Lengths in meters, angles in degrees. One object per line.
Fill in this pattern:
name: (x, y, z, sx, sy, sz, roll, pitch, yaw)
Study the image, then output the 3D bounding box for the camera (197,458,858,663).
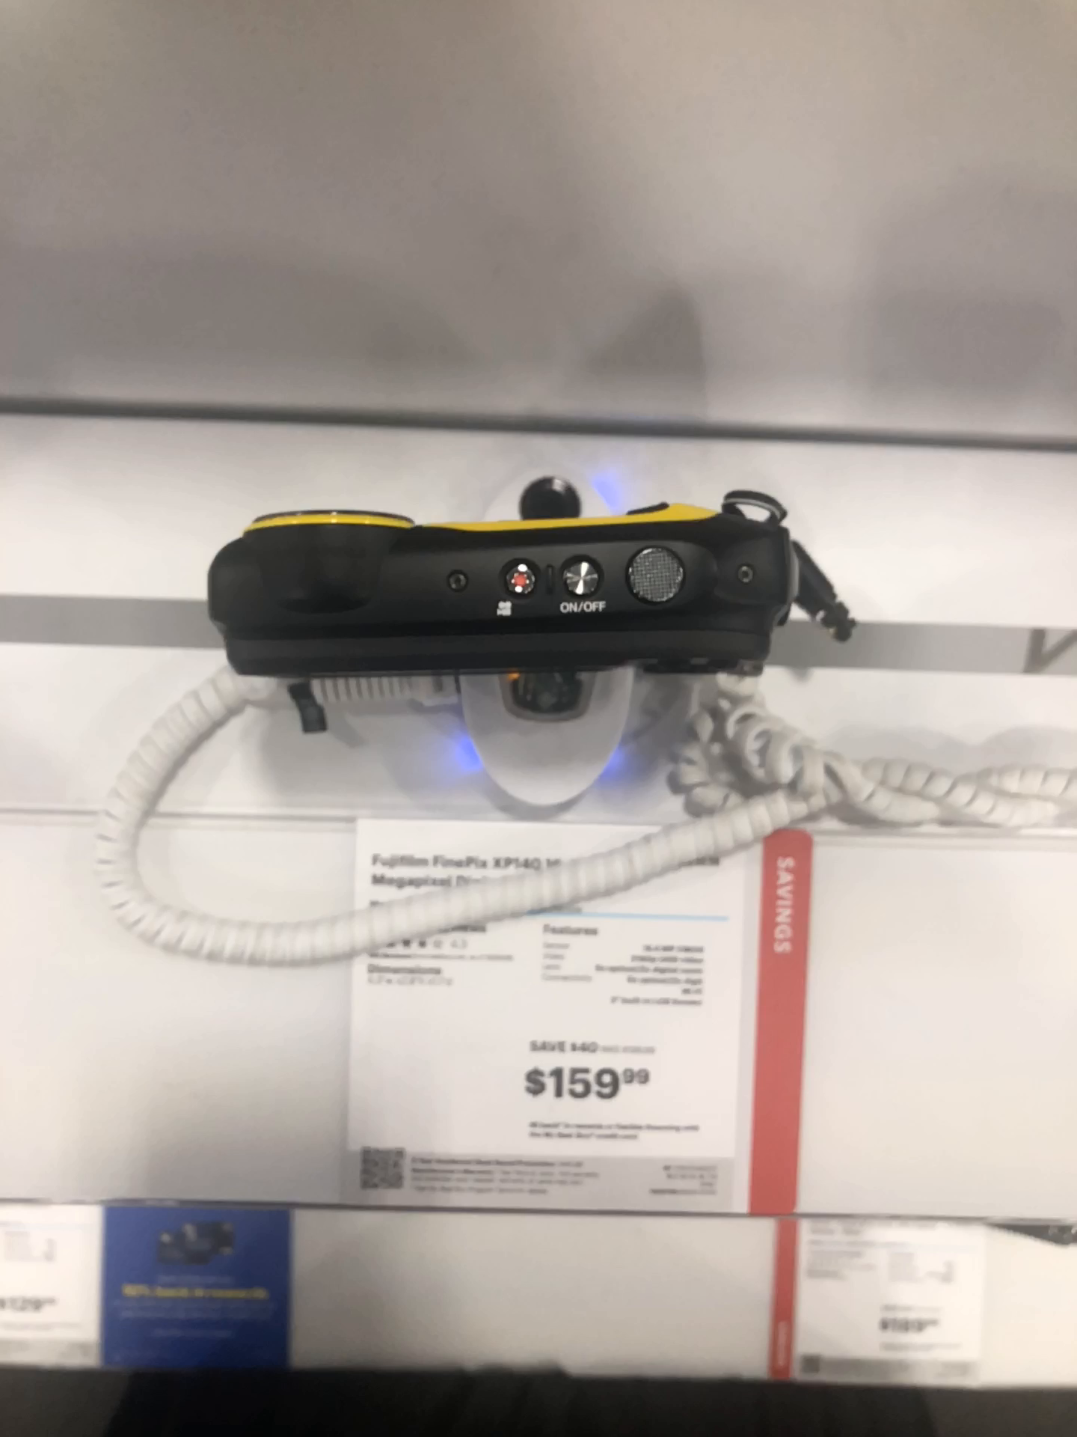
camera: (-0.002, -0.028, 0.238, 0.110, 0.070, 0.030, -2, 92, -1)
